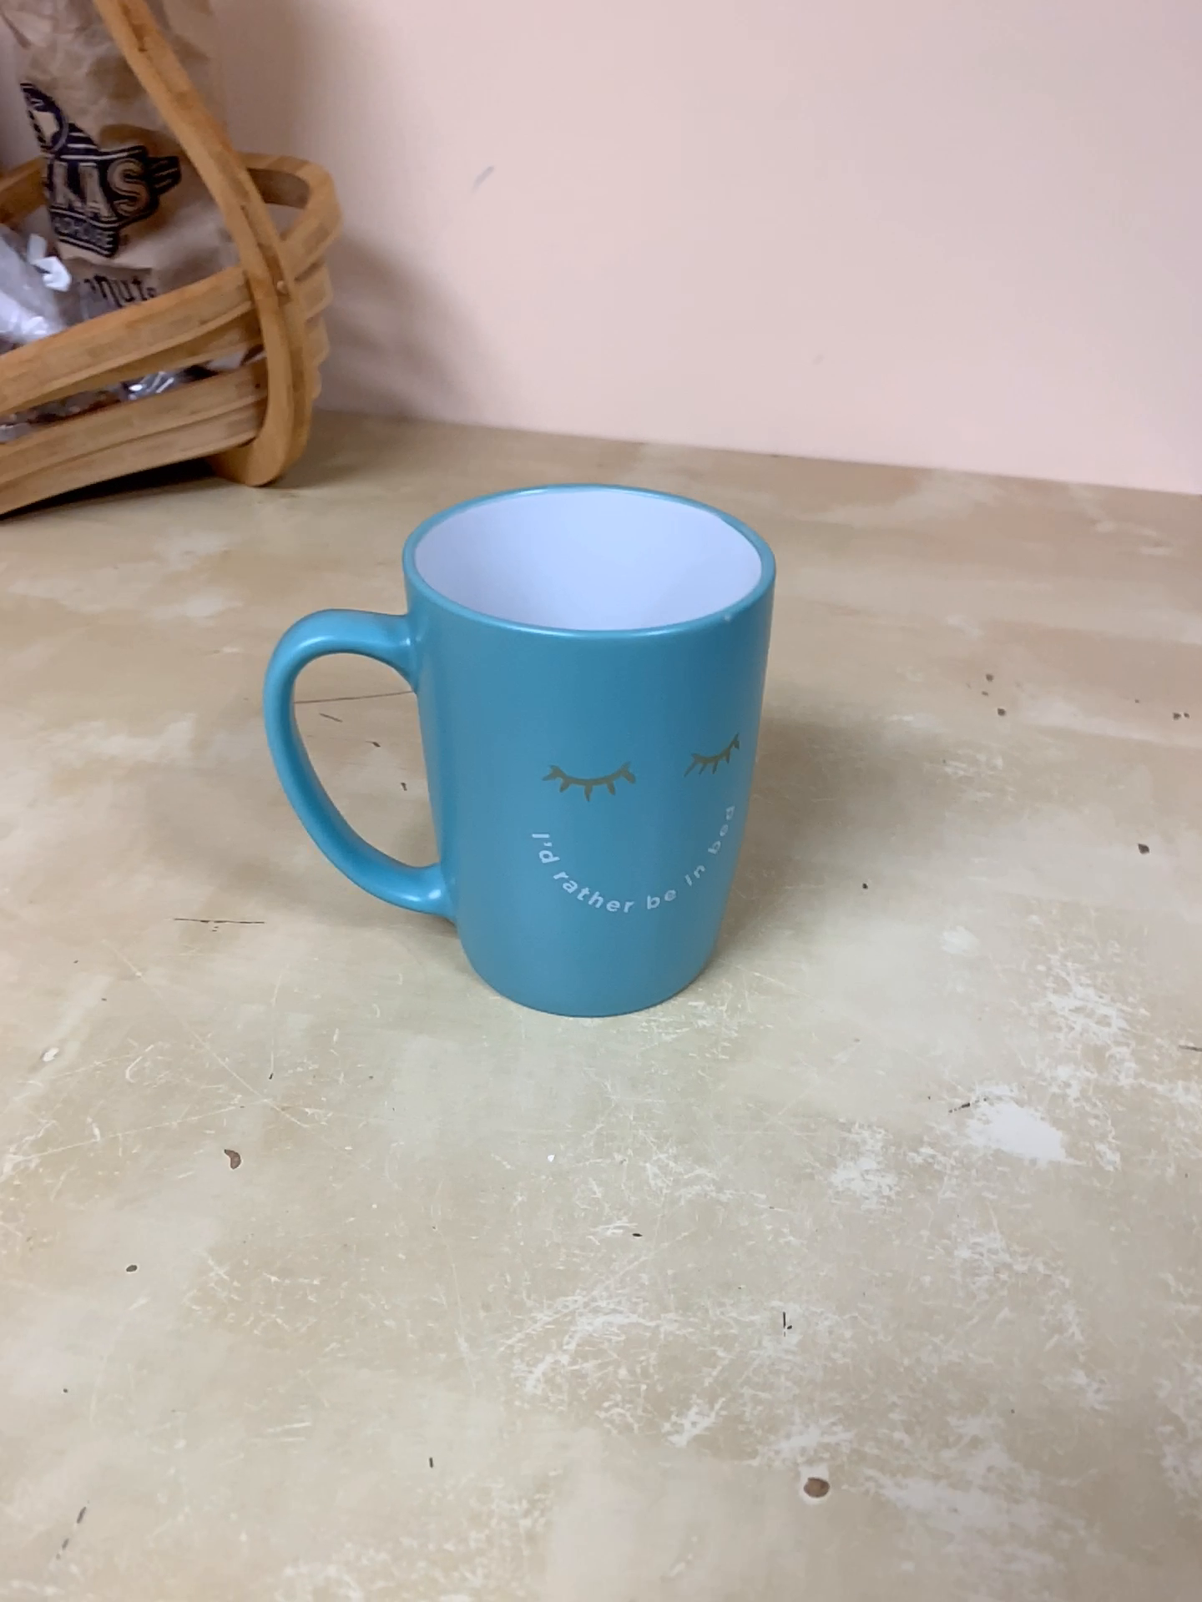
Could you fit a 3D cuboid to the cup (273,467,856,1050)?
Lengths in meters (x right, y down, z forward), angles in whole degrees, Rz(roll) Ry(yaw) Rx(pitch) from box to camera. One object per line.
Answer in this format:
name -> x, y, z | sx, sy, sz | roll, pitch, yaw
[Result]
cup -> -0.013, -0.014, 0.325 | 0.121, 0.114, 0.092 | -4, 35, -7
